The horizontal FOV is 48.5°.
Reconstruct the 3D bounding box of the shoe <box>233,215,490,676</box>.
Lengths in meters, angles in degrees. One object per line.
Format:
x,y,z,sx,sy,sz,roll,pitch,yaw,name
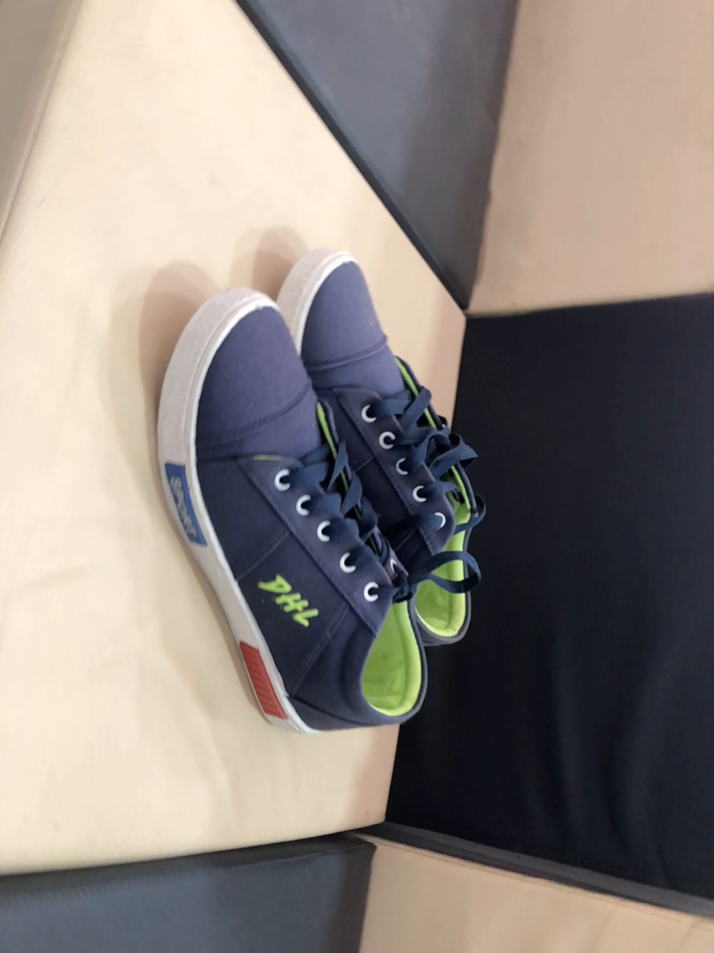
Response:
0.015,-0.014,0.505,0.090,0.079,0.271,-46,131,-50,shoe

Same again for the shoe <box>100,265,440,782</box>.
-0.033,0.029,0.435,0.090,0.089,0.261,-46,131,-50,shoe
